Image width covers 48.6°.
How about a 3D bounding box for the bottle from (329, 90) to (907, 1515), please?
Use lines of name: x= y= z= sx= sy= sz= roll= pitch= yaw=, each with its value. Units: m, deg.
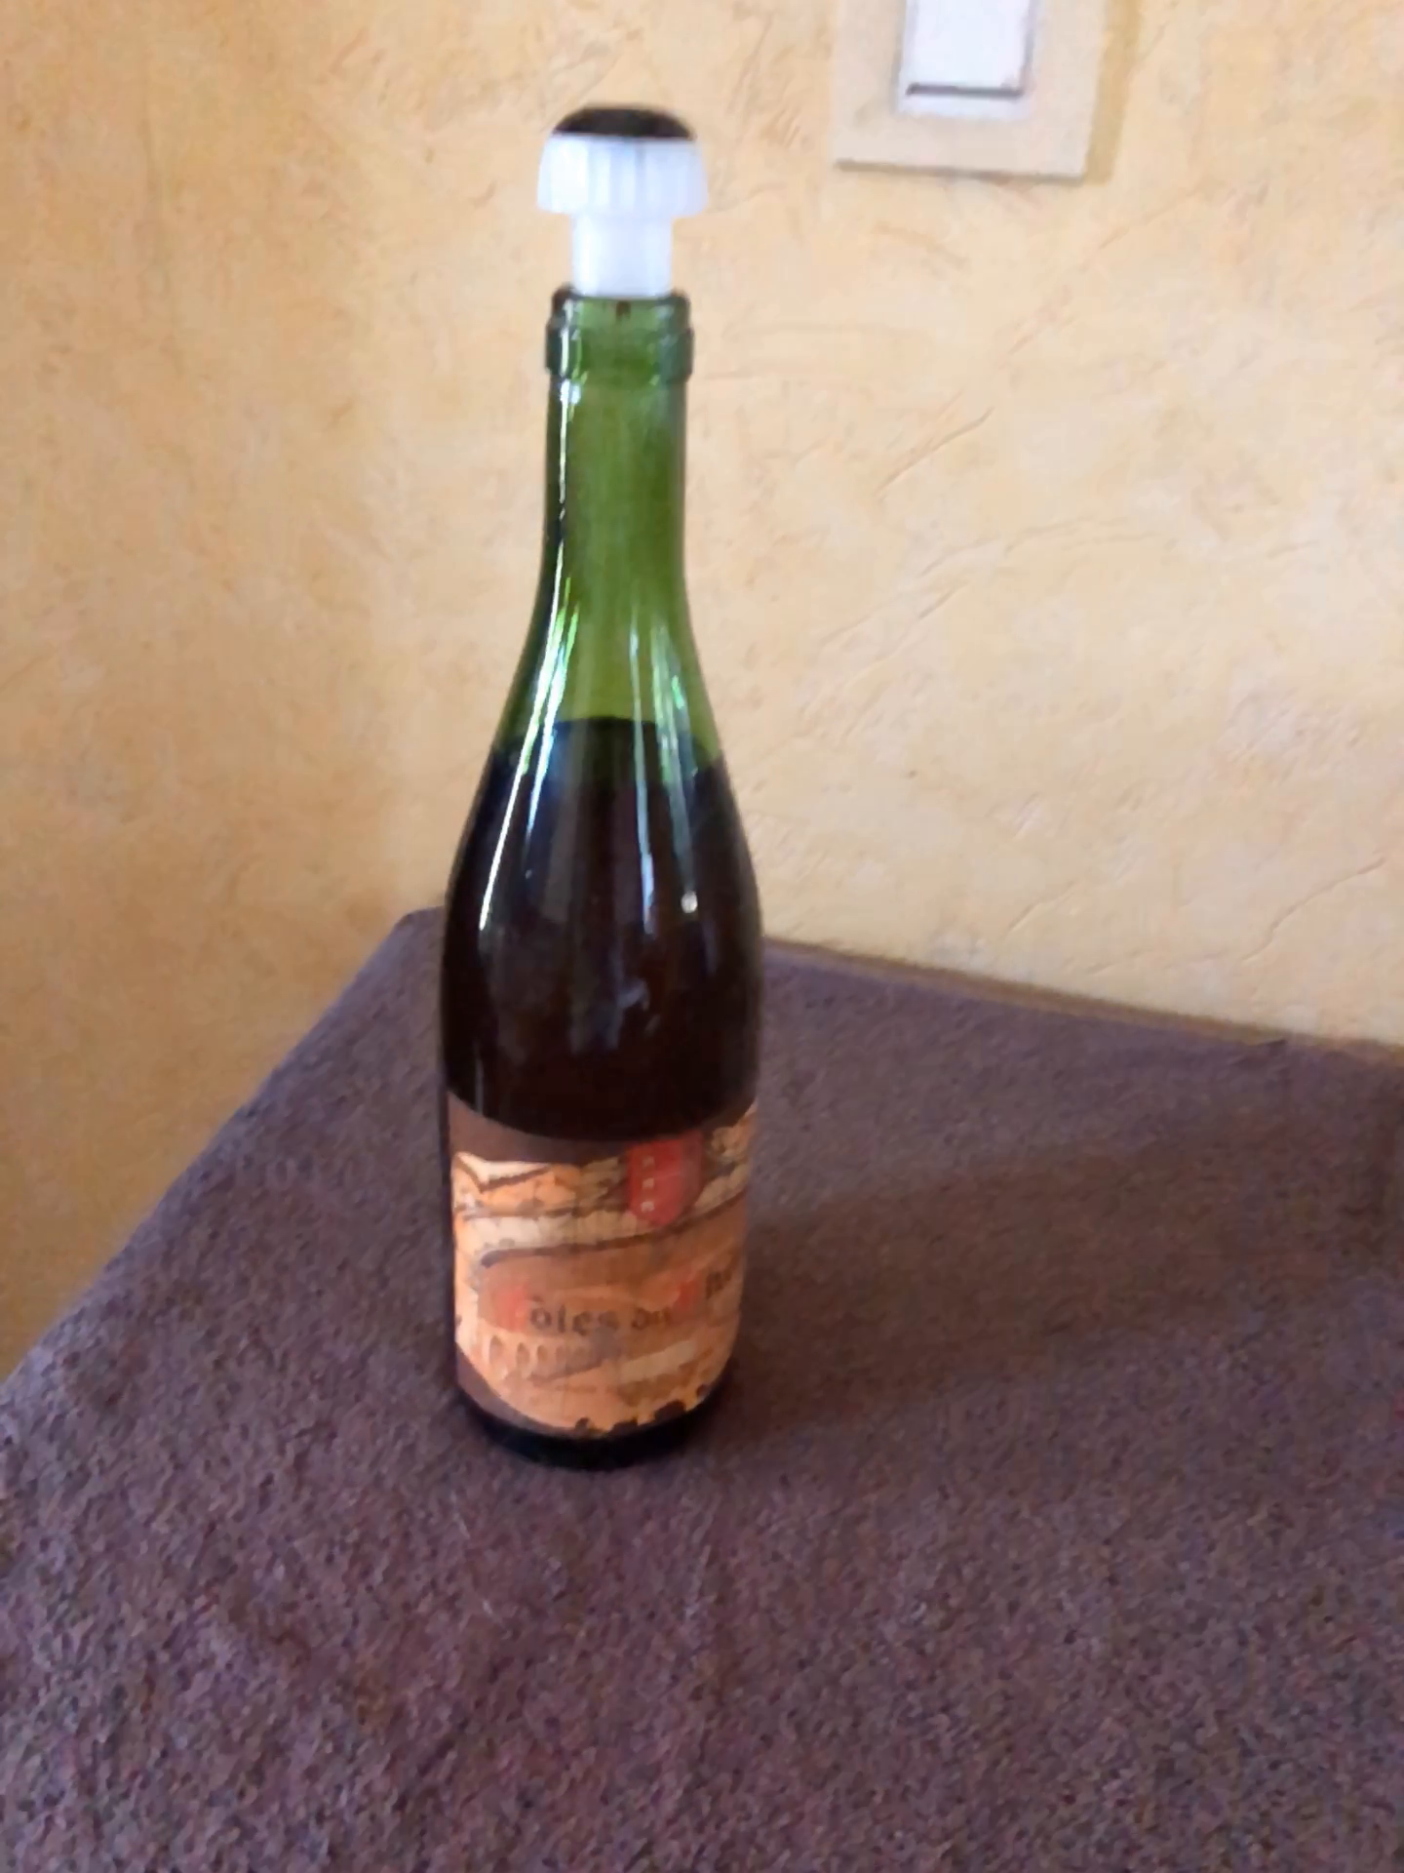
bottle: x=-0.027 y=-0.018 z=0.361 sx=0.090 sy=0.308 sz=0.090 roll=2 pitch=28 yaw=-1
